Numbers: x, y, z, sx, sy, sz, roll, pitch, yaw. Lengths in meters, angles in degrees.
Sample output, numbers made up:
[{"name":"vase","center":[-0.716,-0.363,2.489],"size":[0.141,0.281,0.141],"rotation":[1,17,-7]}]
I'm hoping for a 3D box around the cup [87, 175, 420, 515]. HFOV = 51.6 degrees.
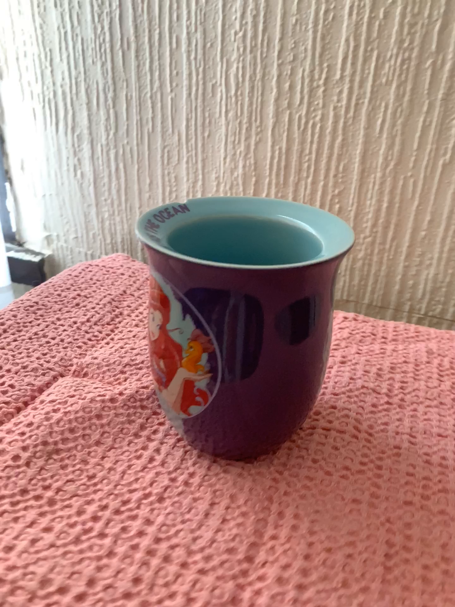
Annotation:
[{"name":"cup","center":[-0.001,0.002,0.246],"size":[0.100,0.099,0.141],"rotation":[-12,31,-26]}]
